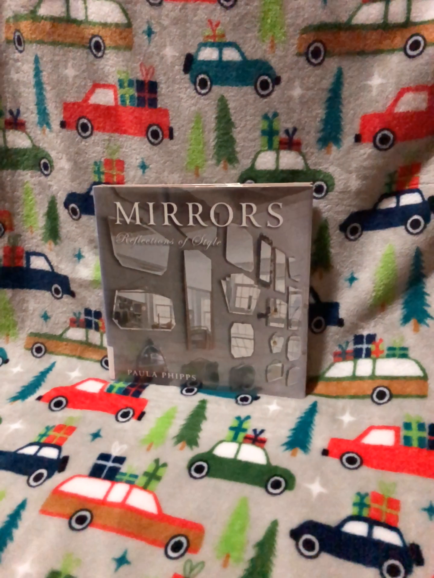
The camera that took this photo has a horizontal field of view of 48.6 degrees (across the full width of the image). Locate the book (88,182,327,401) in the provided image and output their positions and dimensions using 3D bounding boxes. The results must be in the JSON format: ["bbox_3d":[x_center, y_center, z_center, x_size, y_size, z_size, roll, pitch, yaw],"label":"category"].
[{"bbox_3d":[-0.008,0.002,0.479,0.223,0.208,0.030,2,17,13],"label":"book"}]
